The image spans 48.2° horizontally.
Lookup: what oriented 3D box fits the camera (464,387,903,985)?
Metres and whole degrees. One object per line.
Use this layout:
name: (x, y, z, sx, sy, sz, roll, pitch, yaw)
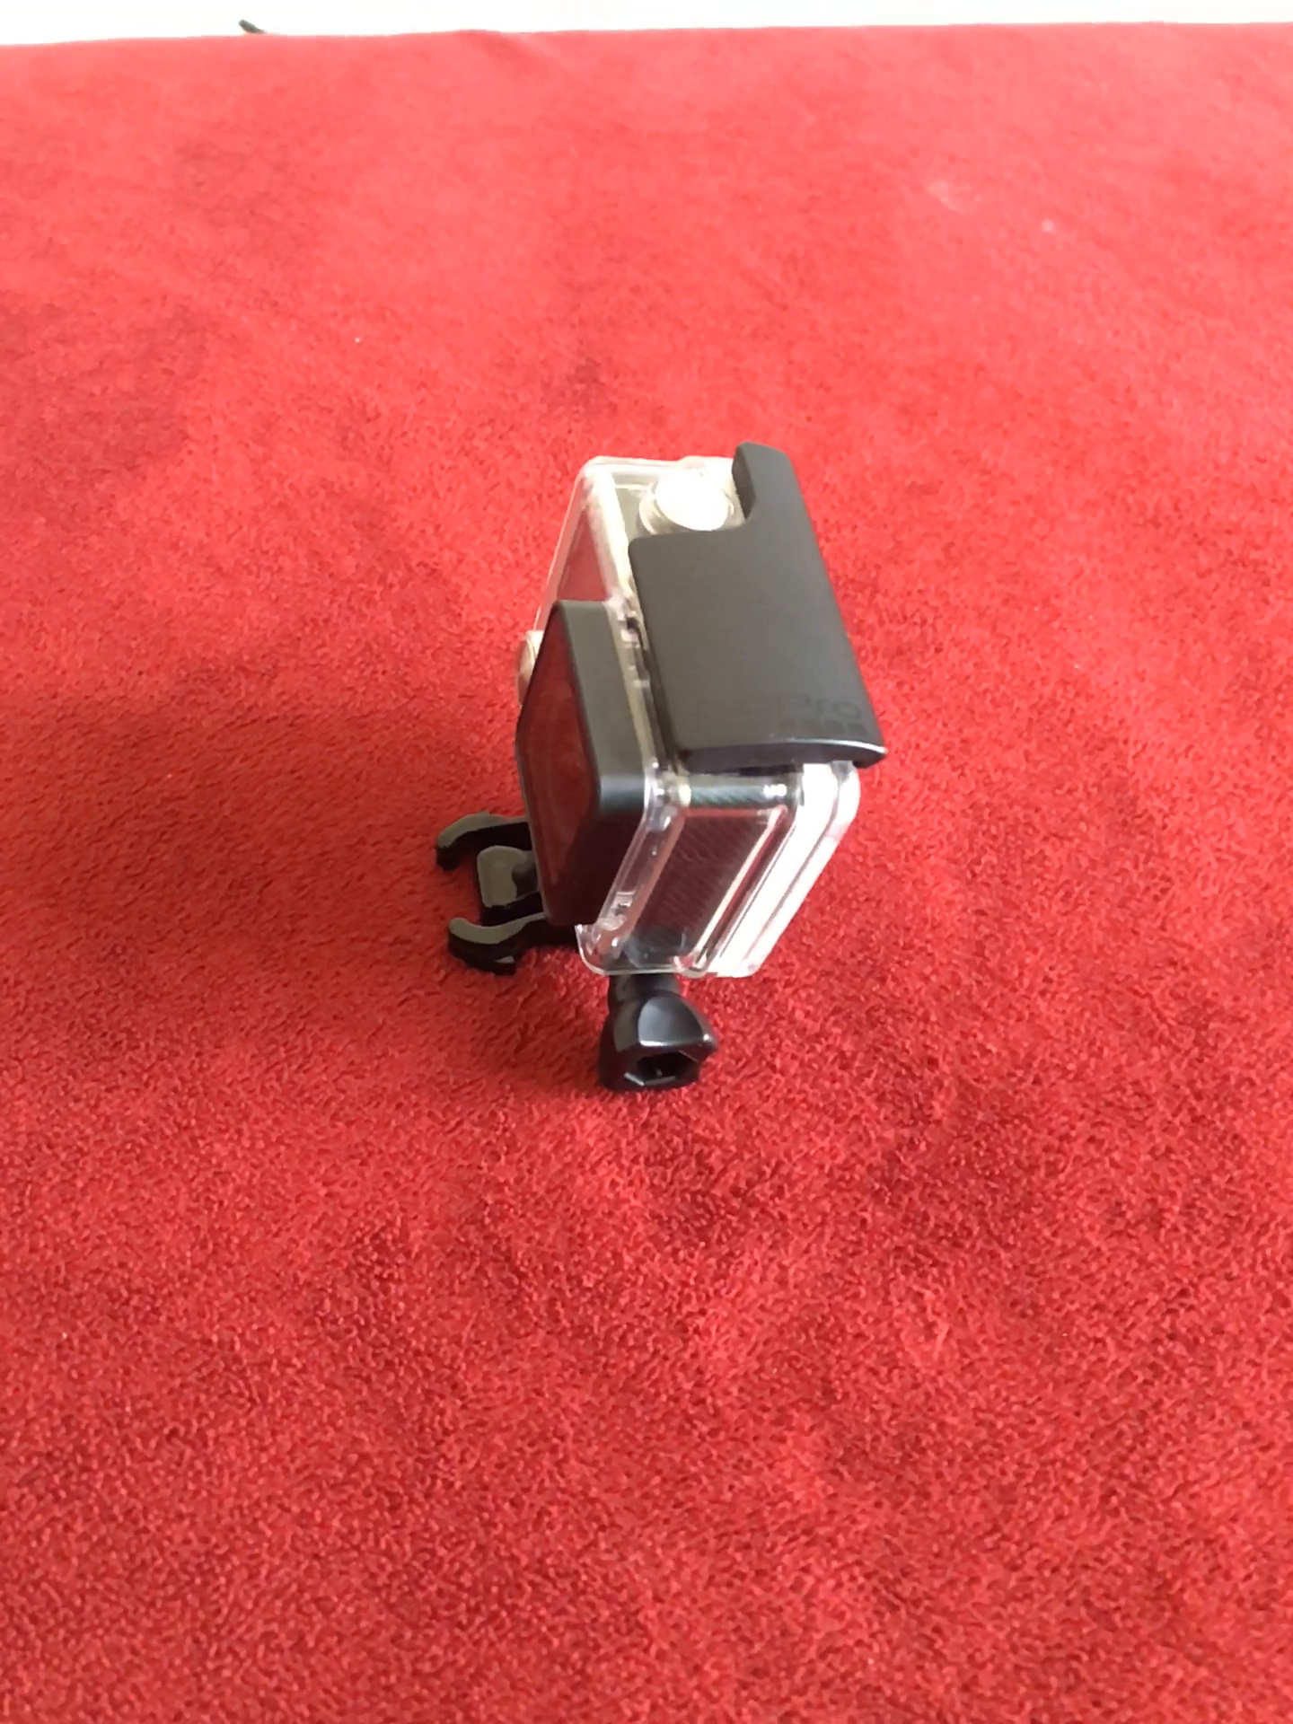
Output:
camera: (0.000, -0.027, 0.217, 0.040, 0.050, 0.073, -1, 52, -18)
